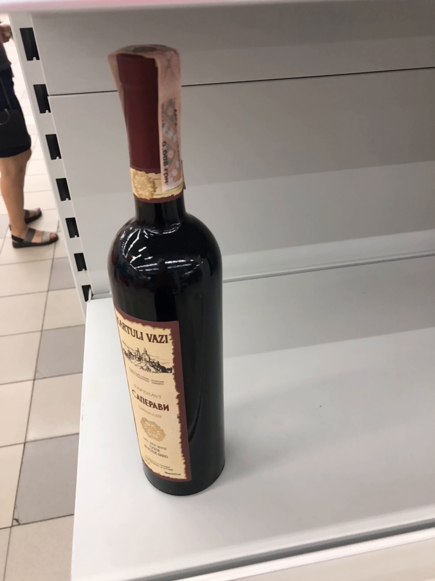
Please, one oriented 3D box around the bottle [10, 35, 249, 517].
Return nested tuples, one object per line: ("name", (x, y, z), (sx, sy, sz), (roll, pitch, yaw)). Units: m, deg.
("bottle", (-0.034, 0.016, 0.301), (0.079, 0.299, 0.069), (18, 41, 25))
